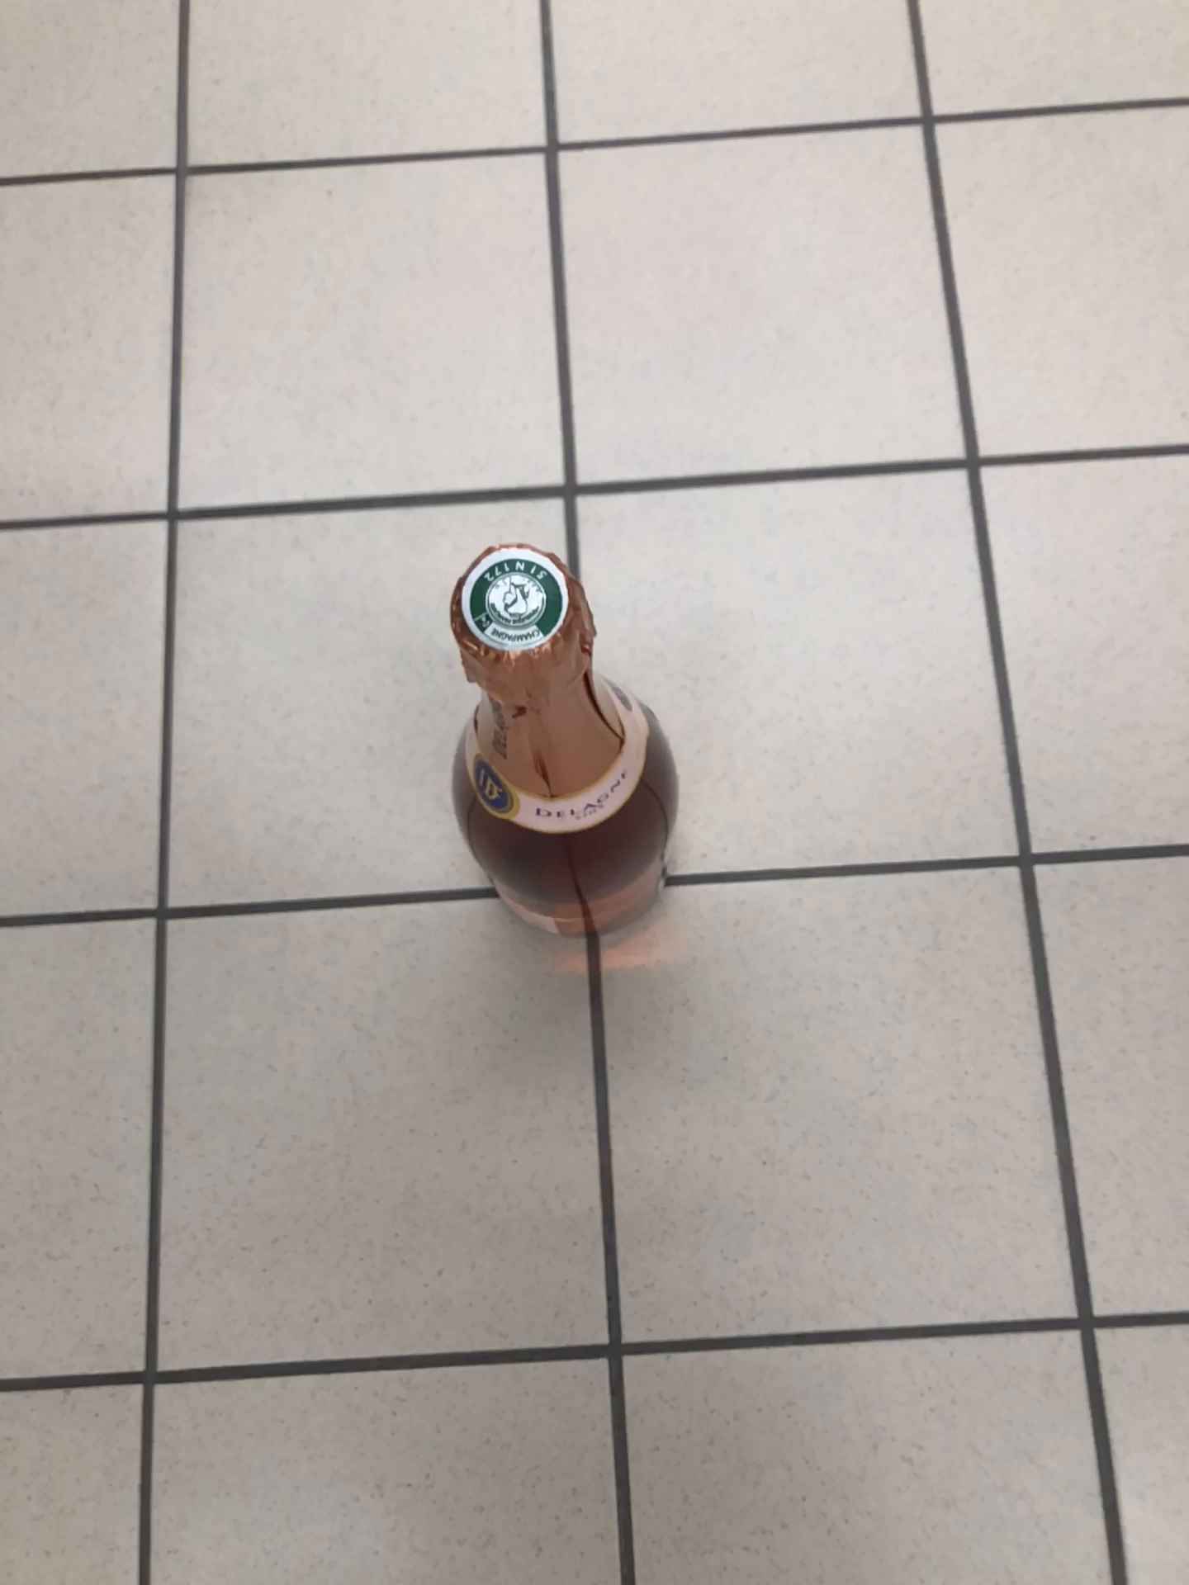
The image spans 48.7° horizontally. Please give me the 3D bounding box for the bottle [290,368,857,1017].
[{"bbox_3d":[-0.002,-0.004,0.446,0.090,0.290,0.100,-37,78,-7],"label":"bottle"}]
